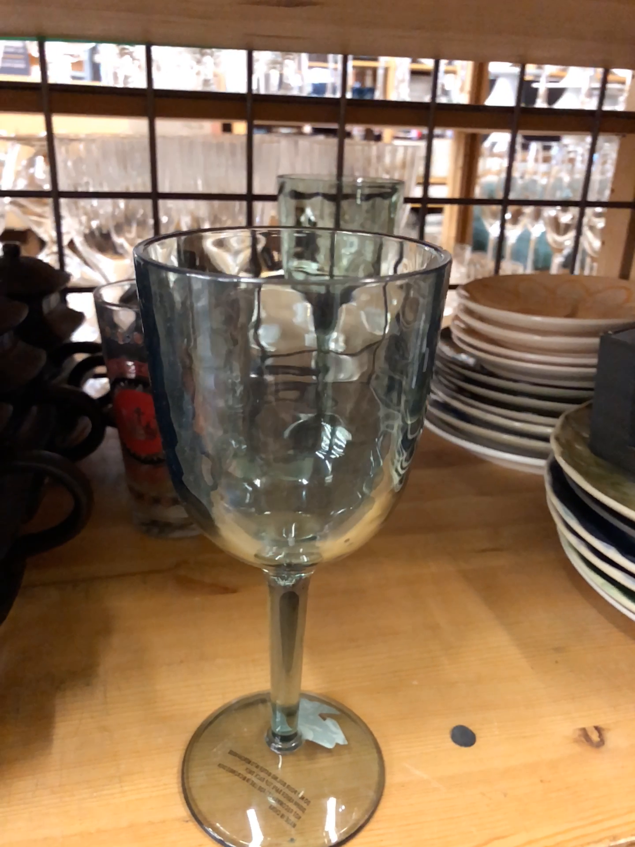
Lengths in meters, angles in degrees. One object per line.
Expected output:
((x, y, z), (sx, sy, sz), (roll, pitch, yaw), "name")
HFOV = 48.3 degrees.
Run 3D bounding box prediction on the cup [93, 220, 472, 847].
((-0.011, 0.040, 0.253), (0.091, 0.204, 0.095), (2, 22, -1), "cup")
